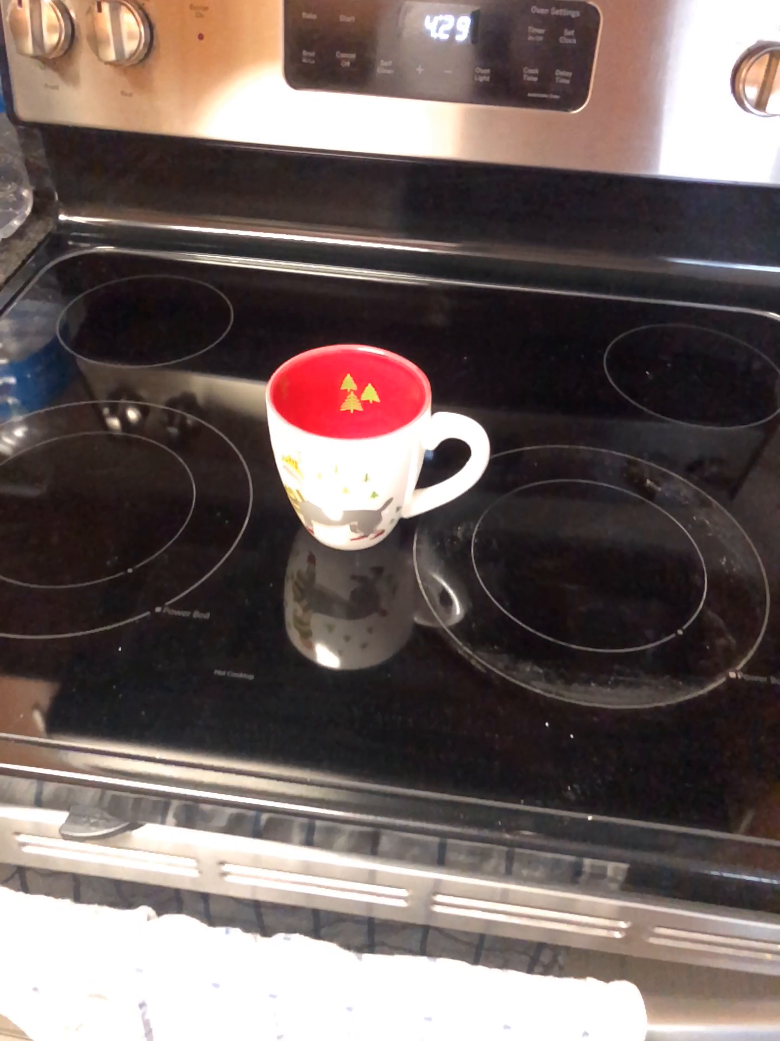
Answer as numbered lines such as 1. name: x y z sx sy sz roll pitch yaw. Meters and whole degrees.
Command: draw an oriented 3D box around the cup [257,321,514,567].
1. cup: 0.001 -0.048 0.541 0.140 0.100 0.100 6 44 3
